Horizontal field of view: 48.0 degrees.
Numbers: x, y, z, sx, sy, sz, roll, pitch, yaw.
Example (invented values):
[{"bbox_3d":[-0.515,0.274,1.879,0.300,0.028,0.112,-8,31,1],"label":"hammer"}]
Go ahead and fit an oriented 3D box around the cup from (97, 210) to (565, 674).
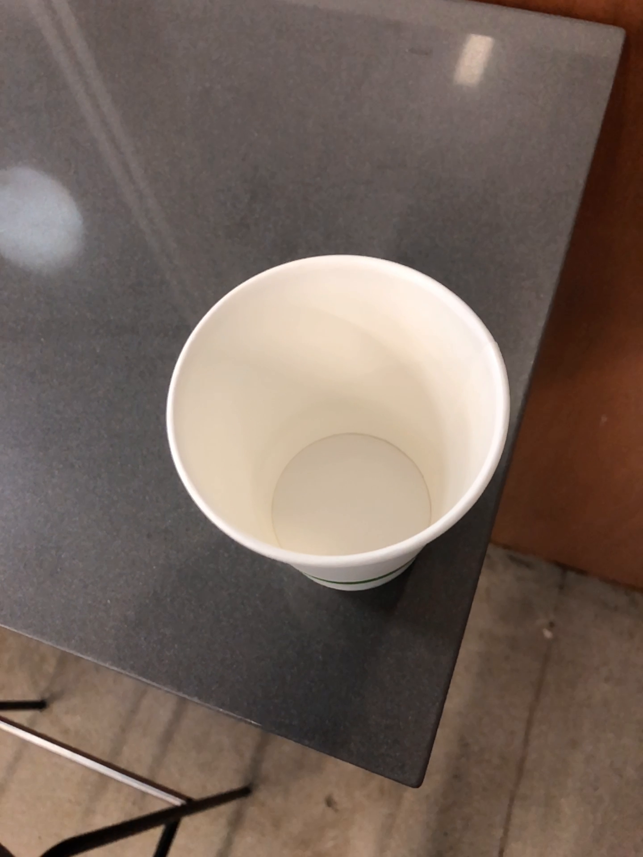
[{"bbox_3d":[0.003,0.015,0.233,0.090,0.120,0.080,-25,67,-7],"label":"cup"}]
